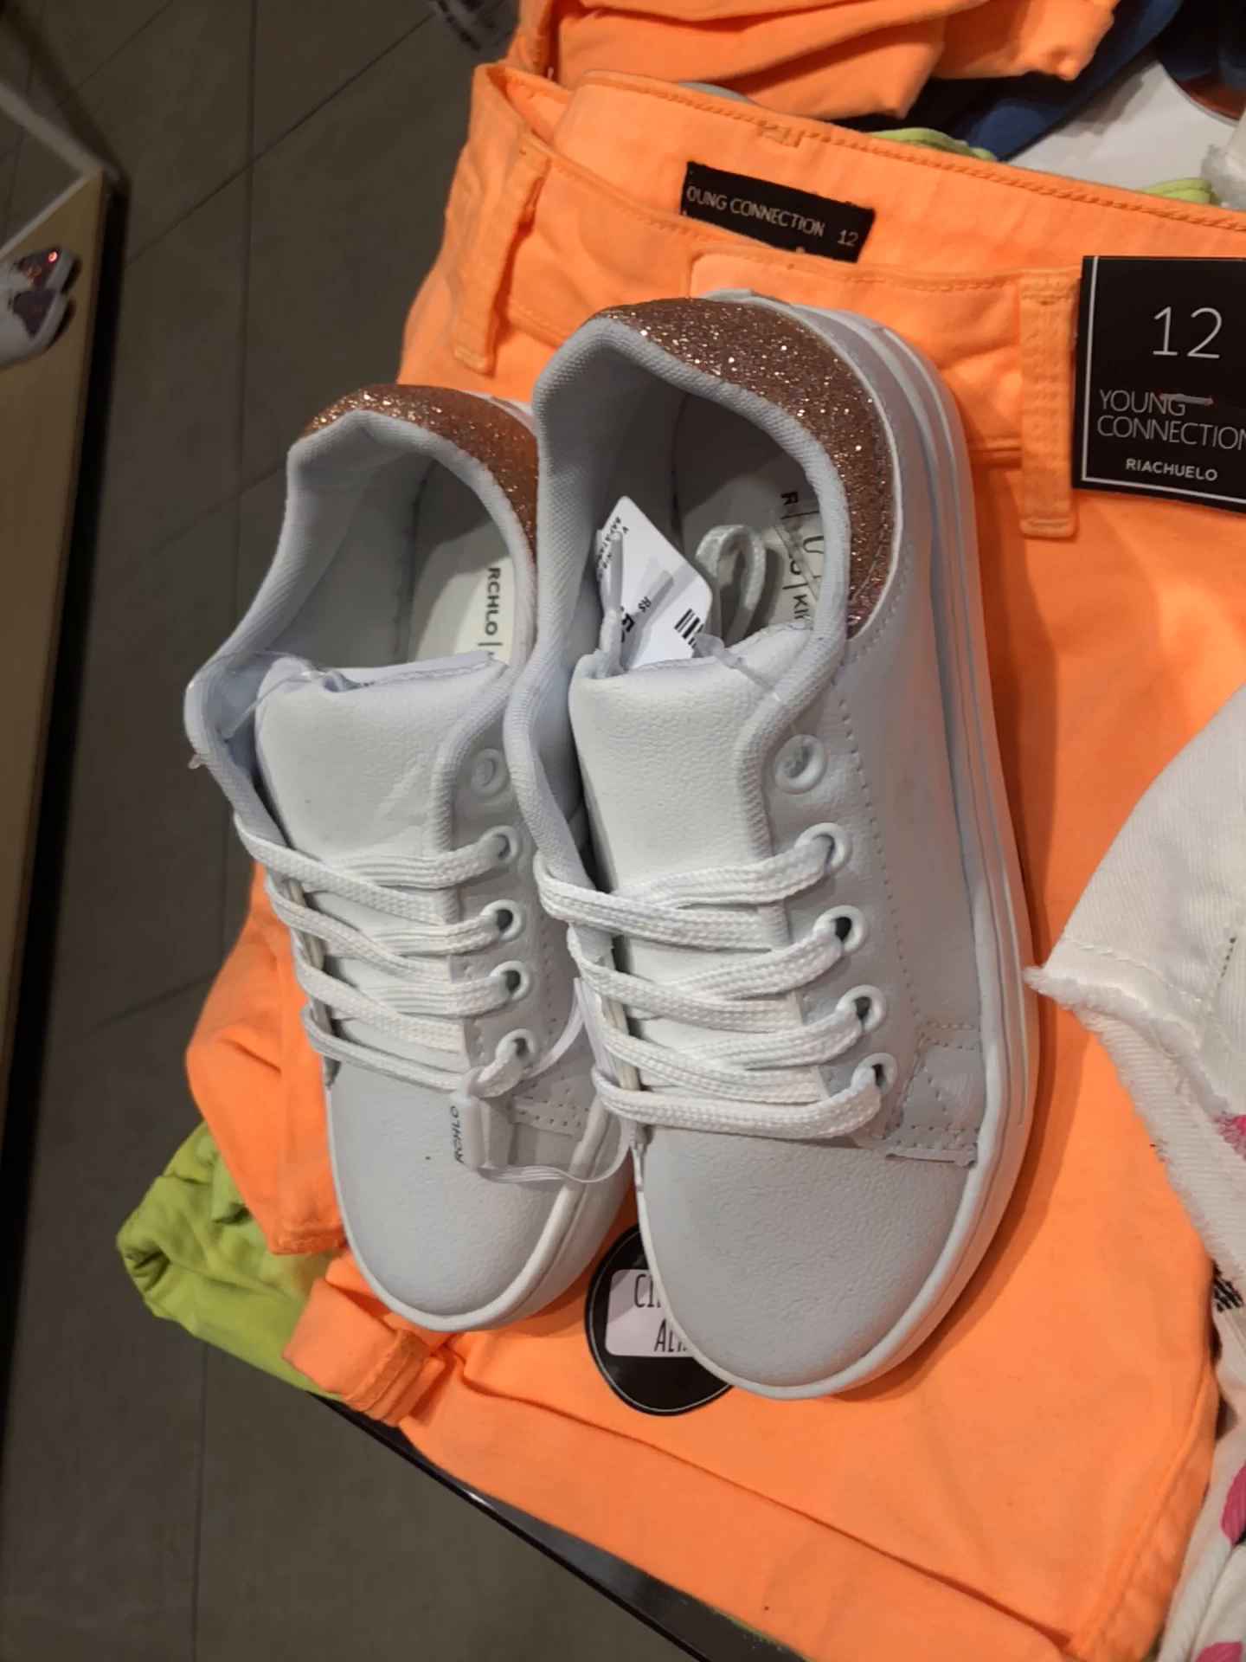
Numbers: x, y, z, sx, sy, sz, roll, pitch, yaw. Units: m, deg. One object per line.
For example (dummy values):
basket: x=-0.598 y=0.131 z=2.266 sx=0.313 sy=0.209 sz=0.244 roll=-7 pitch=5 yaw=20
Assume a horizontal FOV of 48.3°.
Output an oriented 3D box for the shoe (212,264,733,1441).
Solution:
shoe: x=-0.027 y=0.004 z=0.295 sx=0.080 sy=0.070 sz=0.210 roll=1 pitch=95 yaw=23

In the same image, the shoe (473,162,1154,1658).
shoe: x=0.036 y=0.012 z=0.246 sx=0.080 sy=0.070 sz=0.210 roll=-3 pitch=93 yaw=36
